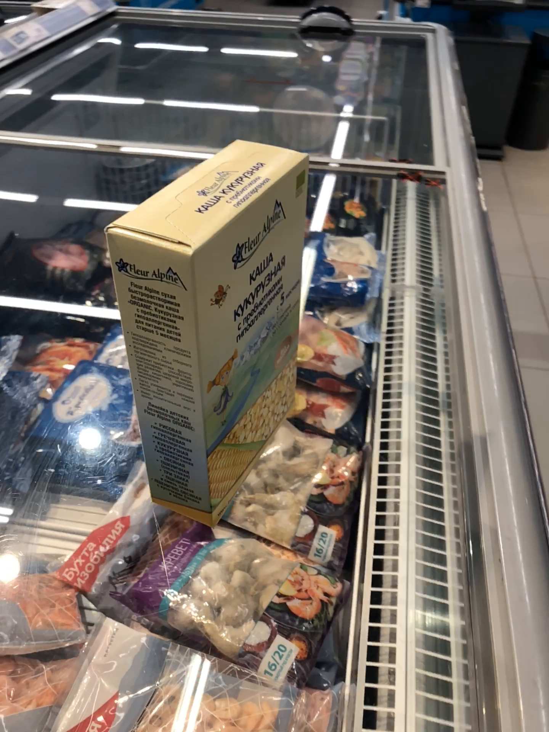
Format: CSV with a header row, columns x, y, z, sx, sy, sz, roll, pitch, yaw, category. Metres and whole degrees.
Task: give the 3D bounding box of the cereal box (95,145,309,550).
x,y,z,sx,sy,sz,roll,pitch,yaw,category
-0.031,-0.007,0.375,0.050,0.209,0.131,17,42,19,cereal box
